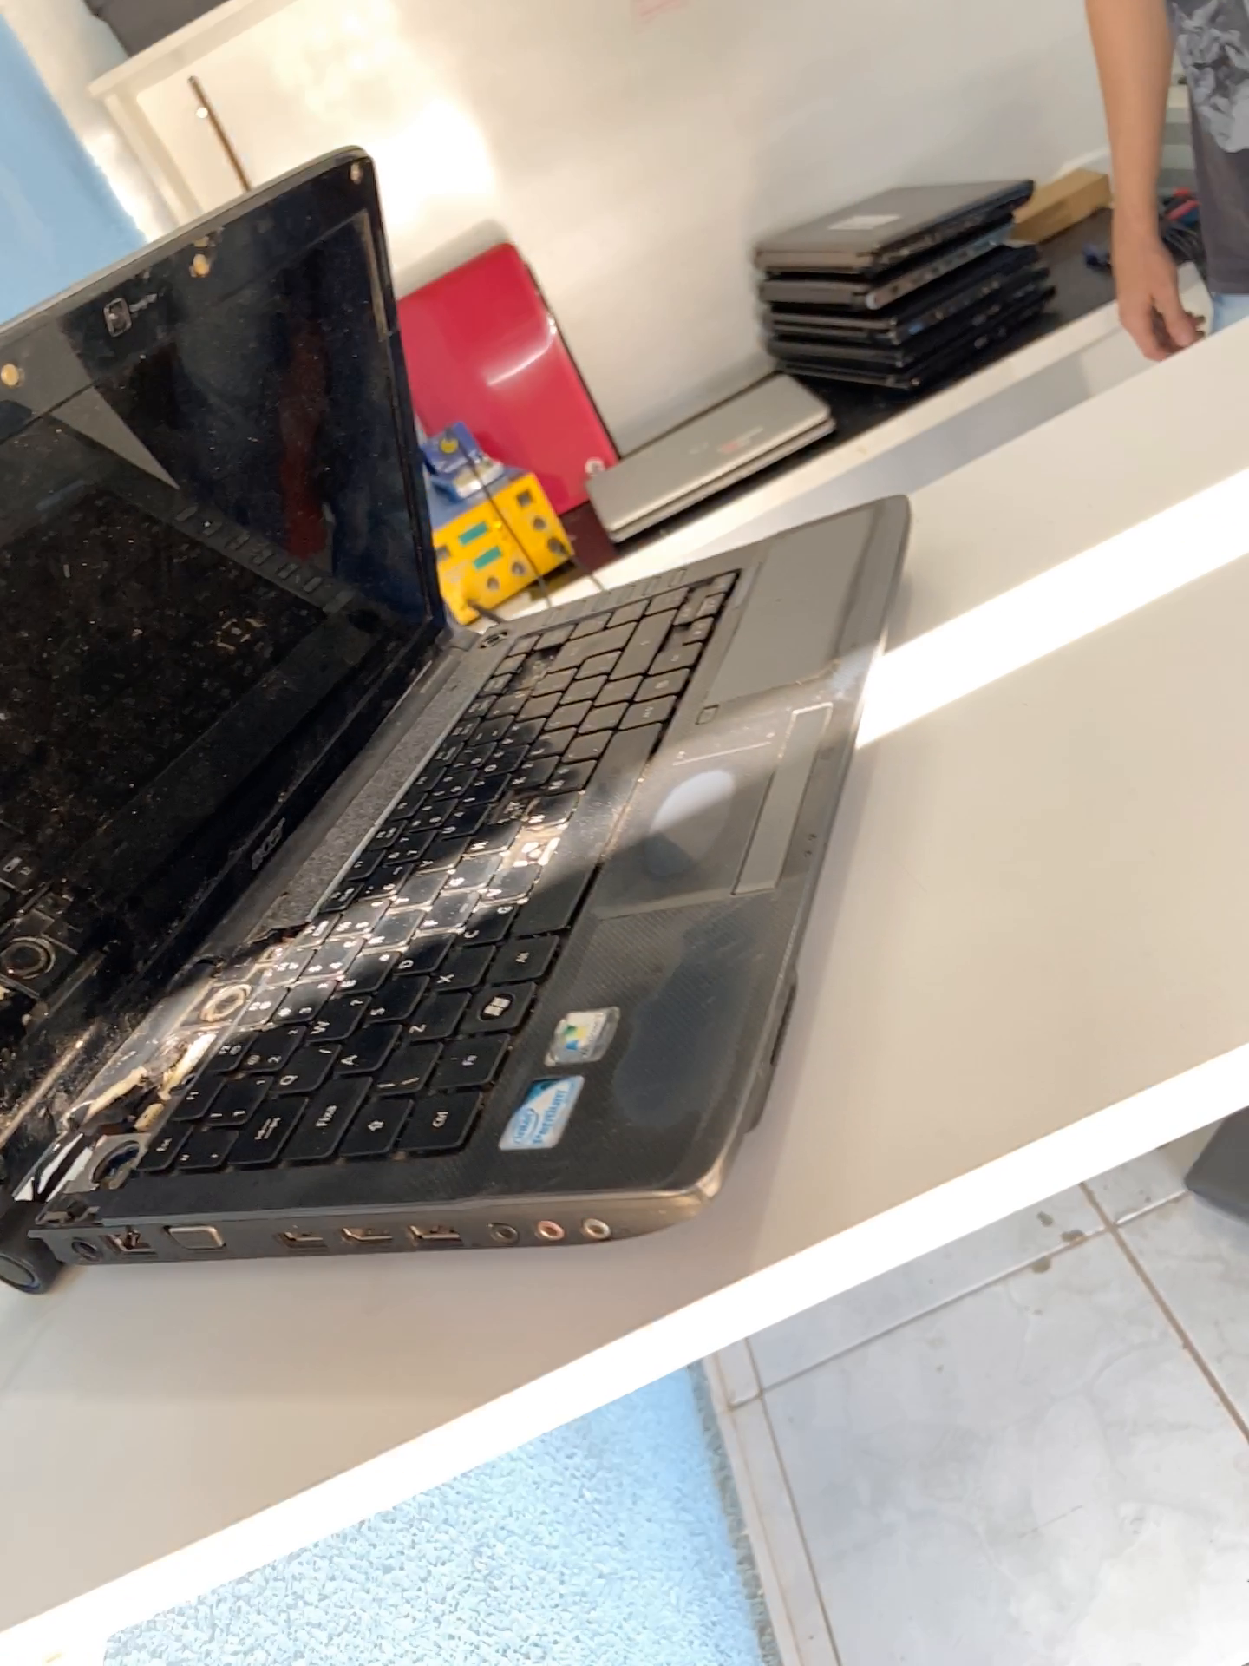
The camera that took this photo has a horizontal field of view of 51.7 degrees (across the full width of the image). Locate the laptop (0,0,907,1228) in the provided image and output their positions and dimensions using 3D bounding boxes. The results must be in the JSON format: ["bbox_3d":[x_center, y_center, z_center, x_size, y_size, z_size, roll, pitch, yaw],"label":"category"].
[{"bbox_3d":[-0.079,-0.082,0.393,0.228,0.182,0.335,-13,32,29],"label":"laptop"}]
